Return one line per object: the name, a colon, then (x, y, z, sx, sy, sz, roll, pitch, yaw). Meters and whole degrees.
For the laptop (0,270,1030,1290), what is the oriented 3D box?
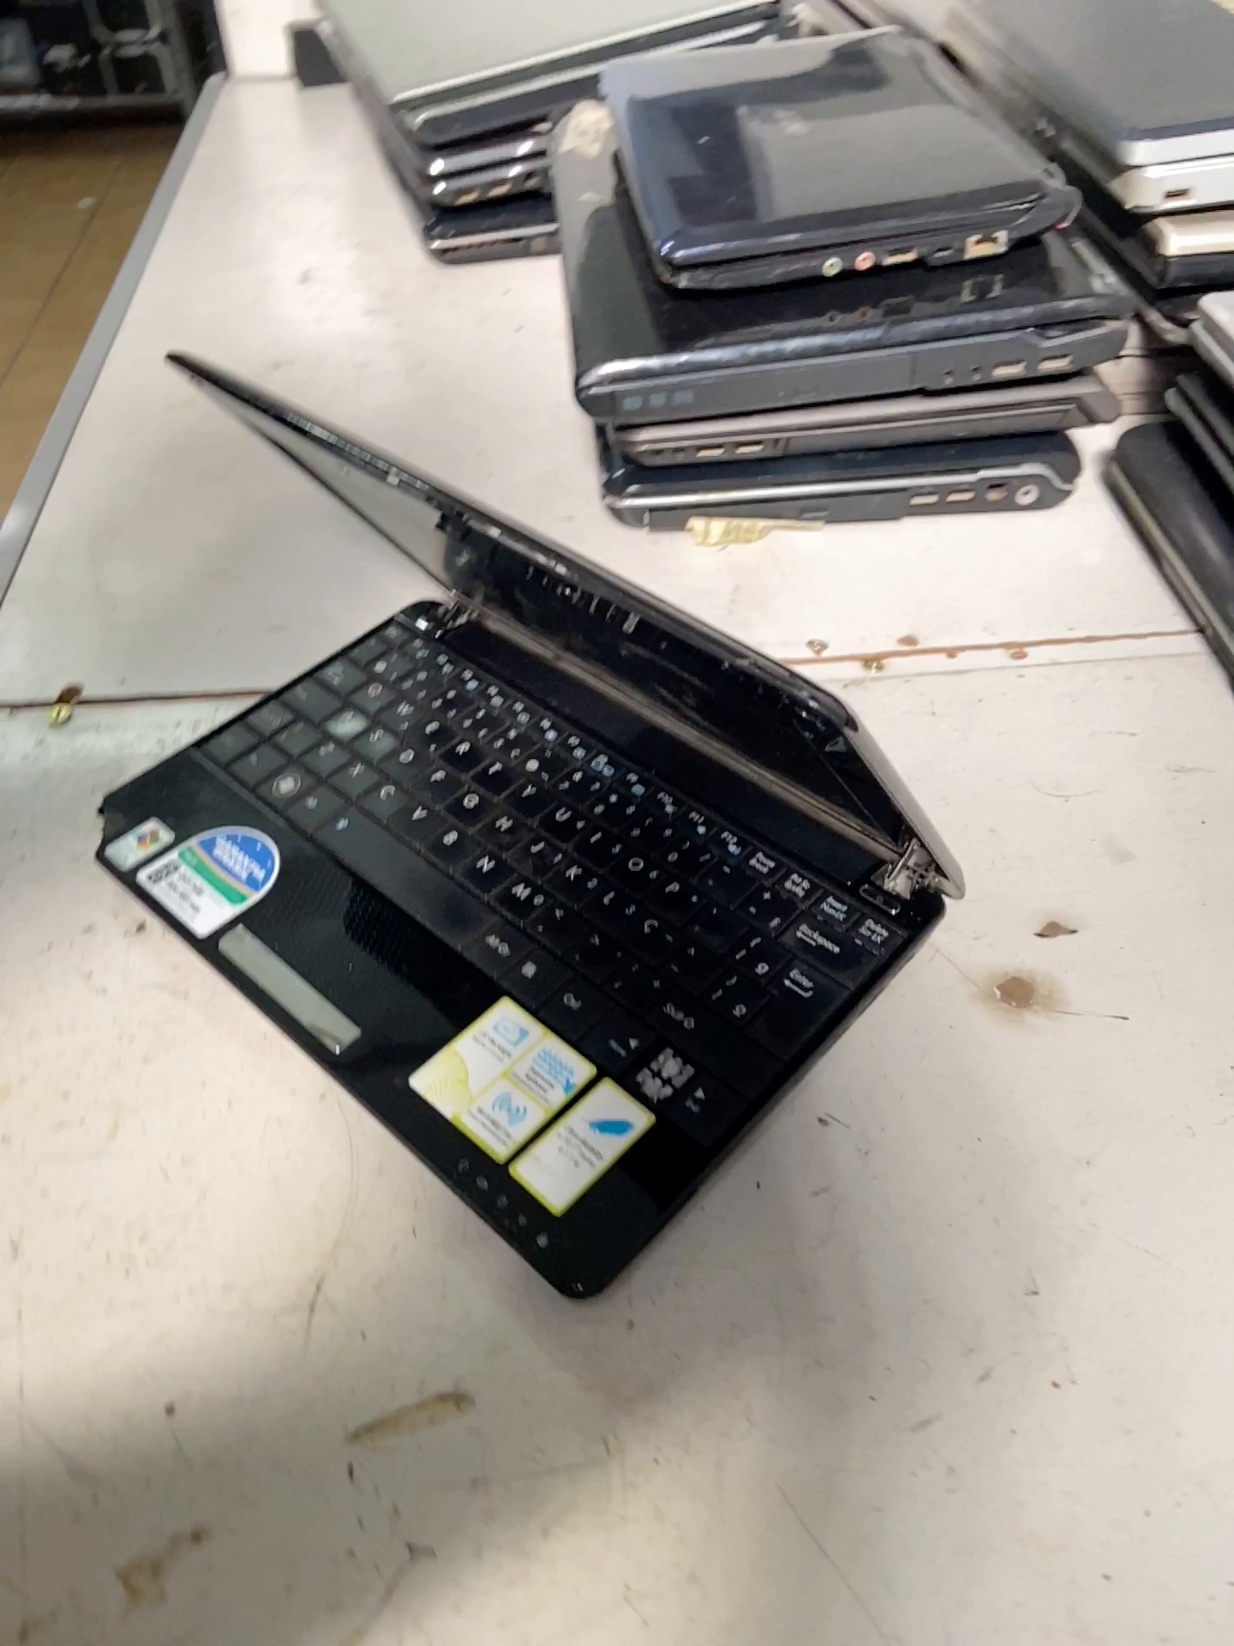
laptop: (-0.045, -0.037, 0.394, 0.263, 0.137, 0.168, 34, 56, 30)
